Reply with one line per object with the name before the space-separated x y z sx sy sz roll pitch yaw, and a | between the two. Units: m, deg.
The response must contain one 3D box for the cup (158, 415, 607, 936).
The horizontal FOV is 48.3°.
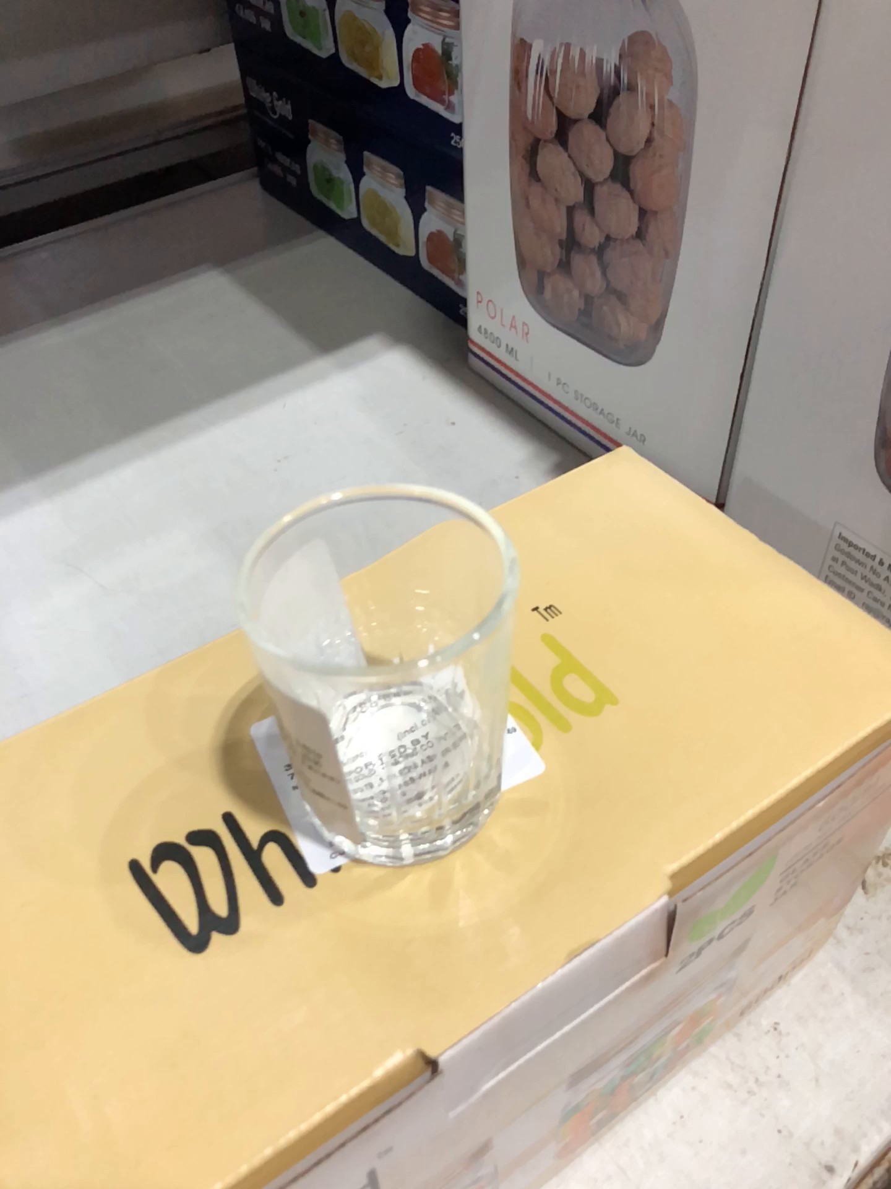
cup | -0.009 0.013 0.177 0.050 0.060 0.050 -1 45 1
